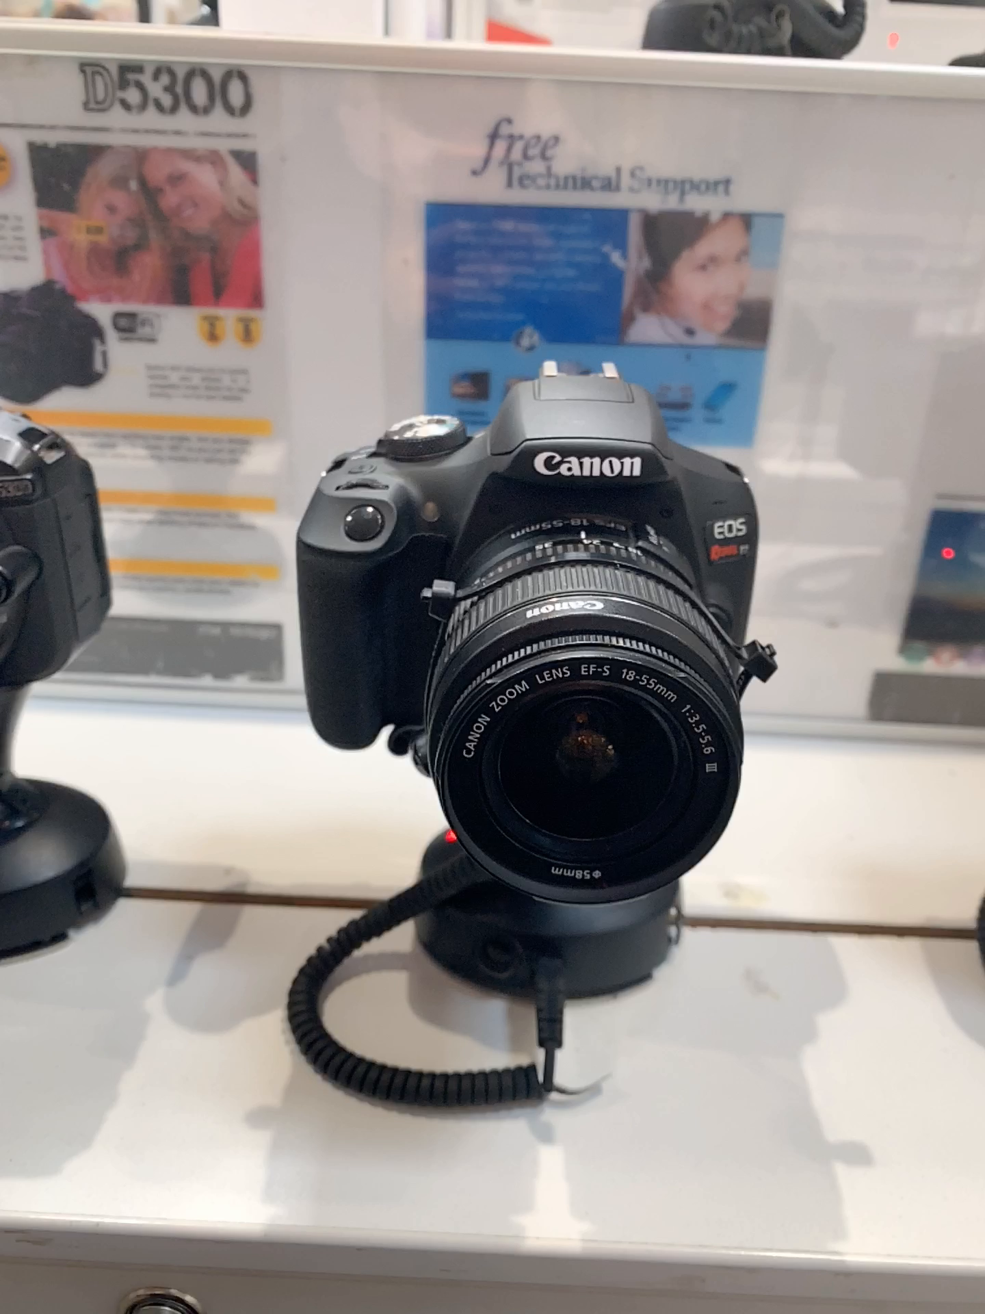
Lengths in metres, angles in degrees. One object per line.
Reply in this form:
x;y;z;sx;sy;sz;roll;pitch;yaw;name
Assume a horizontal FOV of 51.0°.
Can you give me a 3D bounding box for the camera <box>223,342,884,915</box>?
0.008;-0.014;0.261;0.122;0.104;0.110;2;25;-2;camera
